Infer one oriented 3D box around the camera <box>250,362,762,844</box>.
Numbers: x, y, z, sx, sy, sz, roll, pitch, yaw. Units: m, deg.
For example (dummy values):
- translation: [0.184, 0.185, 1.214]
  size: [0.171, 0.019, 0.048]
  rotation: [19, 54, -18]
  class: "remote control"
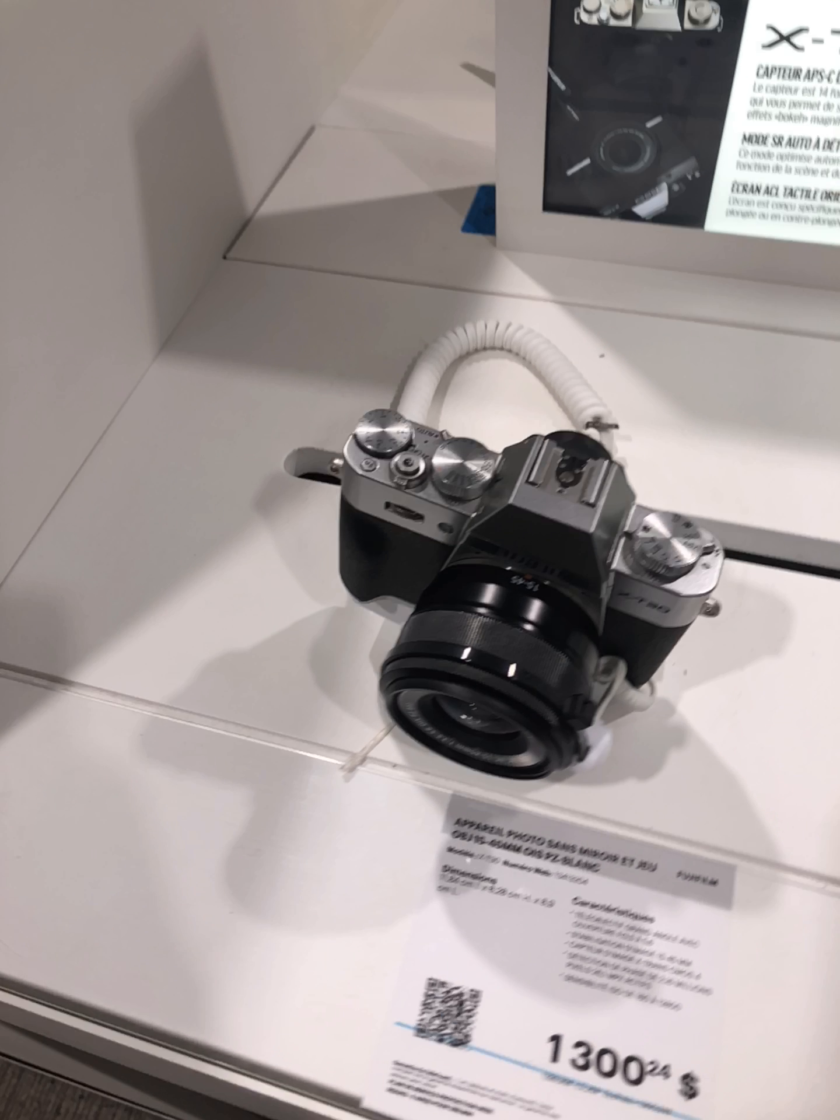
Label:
- translation: [0.027, 0.014, 0.315]
  size: [0.130, 0.089, 0.091]
  rotation: [20, 57, 12]
  class: "camera"
